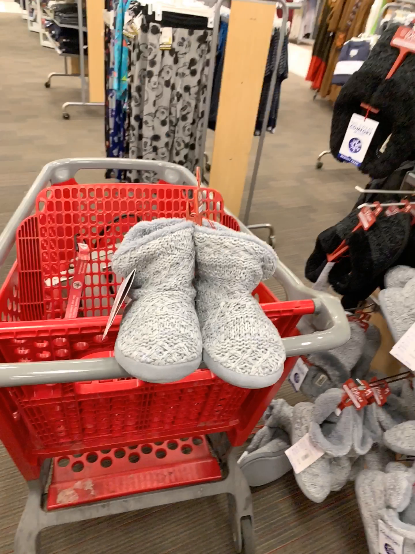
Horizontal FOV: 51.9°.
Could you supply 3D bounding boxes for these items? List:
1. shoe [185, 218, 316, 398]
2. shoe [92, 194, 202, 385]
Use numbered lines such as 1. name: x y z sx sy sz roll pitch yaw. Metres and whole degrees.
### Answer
1. shoe: 0.038 0.028 0.558 0.110 0.119 0.231 2 31 -9
2. shoe: -0.082 0.002 0.574 0.110 0.139 0.251 2 31 -9
